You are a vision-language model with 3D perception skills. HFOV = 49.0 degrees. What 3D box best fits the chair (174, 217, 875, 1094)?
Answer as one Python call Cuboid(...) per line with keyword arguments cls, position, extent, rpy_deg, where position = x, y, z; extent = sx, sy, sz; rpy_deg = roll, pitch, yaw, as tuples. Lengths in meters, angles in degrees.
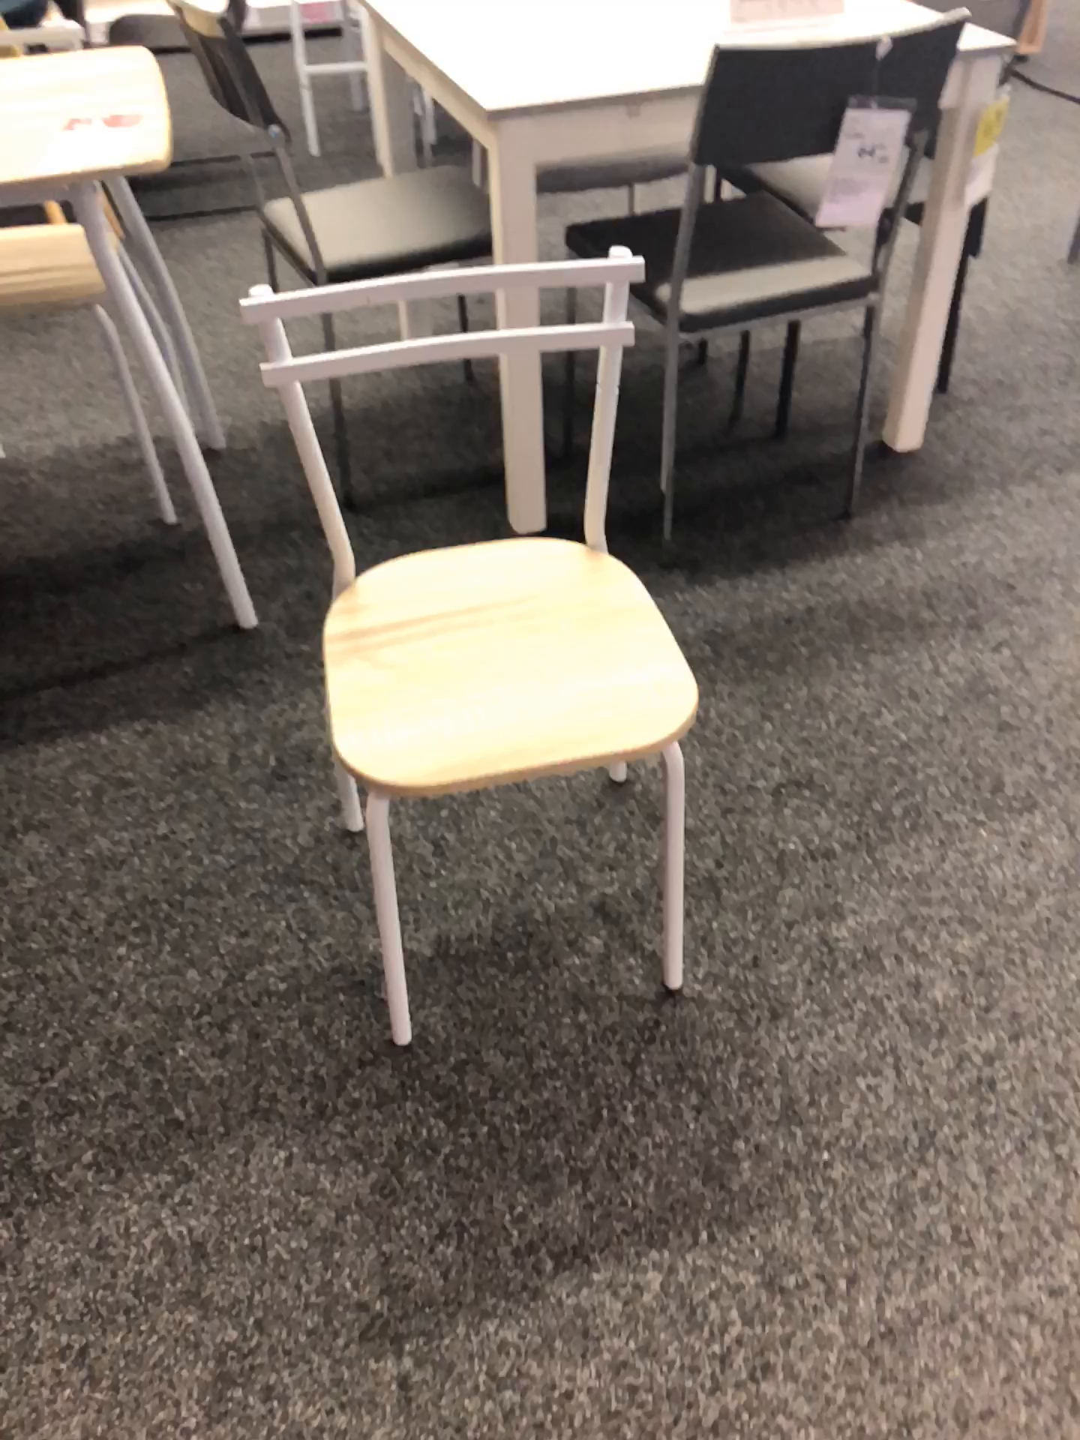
Cuboid(cls="chair", position=(-0.035, -0.058, 1.260), extent=(0.501, 0.726, 0.442), rpy_deg=(-13, 42, -12))
